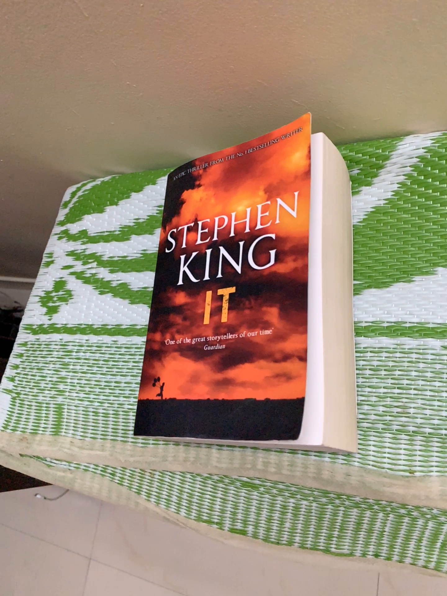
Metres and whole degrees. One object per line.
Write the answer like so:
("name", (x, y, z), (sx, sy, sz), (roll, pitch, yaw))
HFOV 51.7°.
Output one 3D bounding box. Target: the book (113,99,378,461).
("book", (0.023, -0.010, 0.312), (0.140, 0.070, 0.211), (-6, 65, 28))
